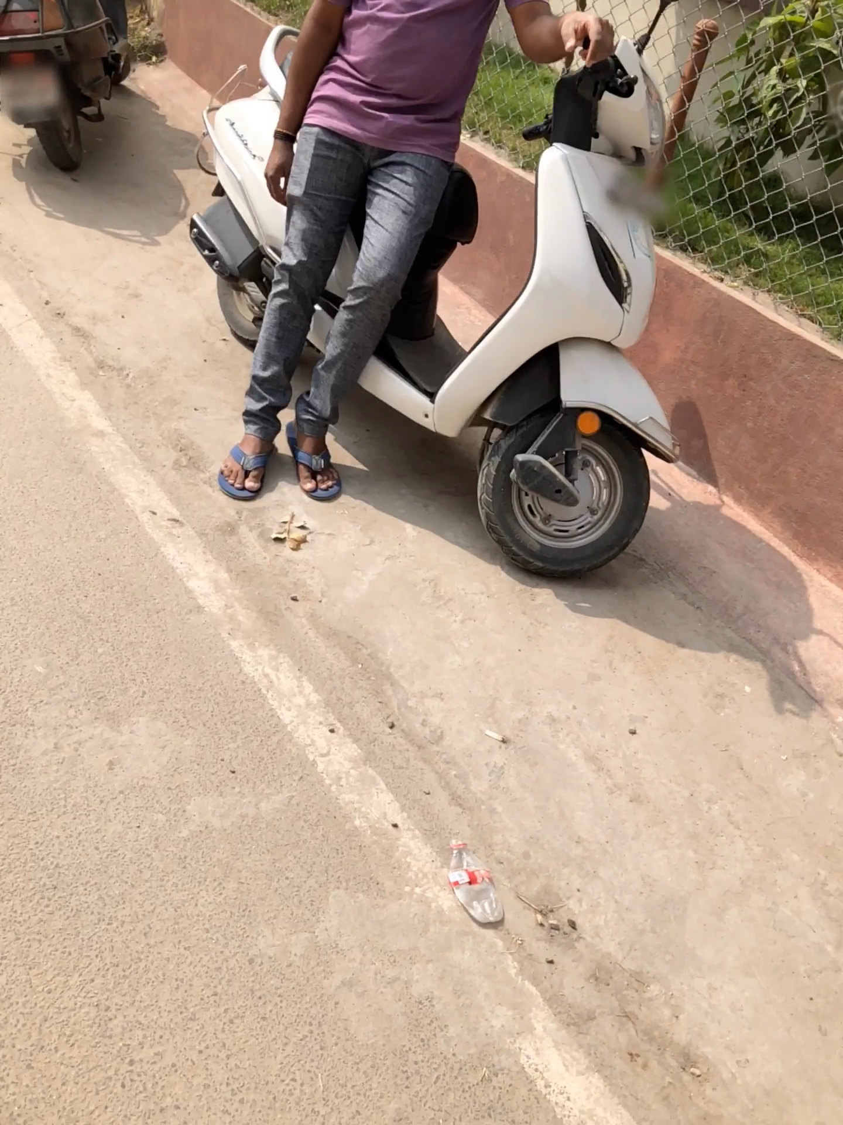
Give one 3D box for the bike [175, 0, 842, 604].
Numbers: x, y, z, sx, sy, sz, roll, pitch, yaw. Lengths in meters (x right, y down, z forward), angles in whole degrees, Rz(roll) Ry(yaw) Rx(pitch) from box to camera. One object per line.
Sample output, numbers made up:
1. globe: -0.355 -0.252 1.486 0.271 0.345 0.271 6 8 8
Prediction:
1. bike: 0.129 -0.836 2.479 1.551 1.112 0.622 36 39 26
